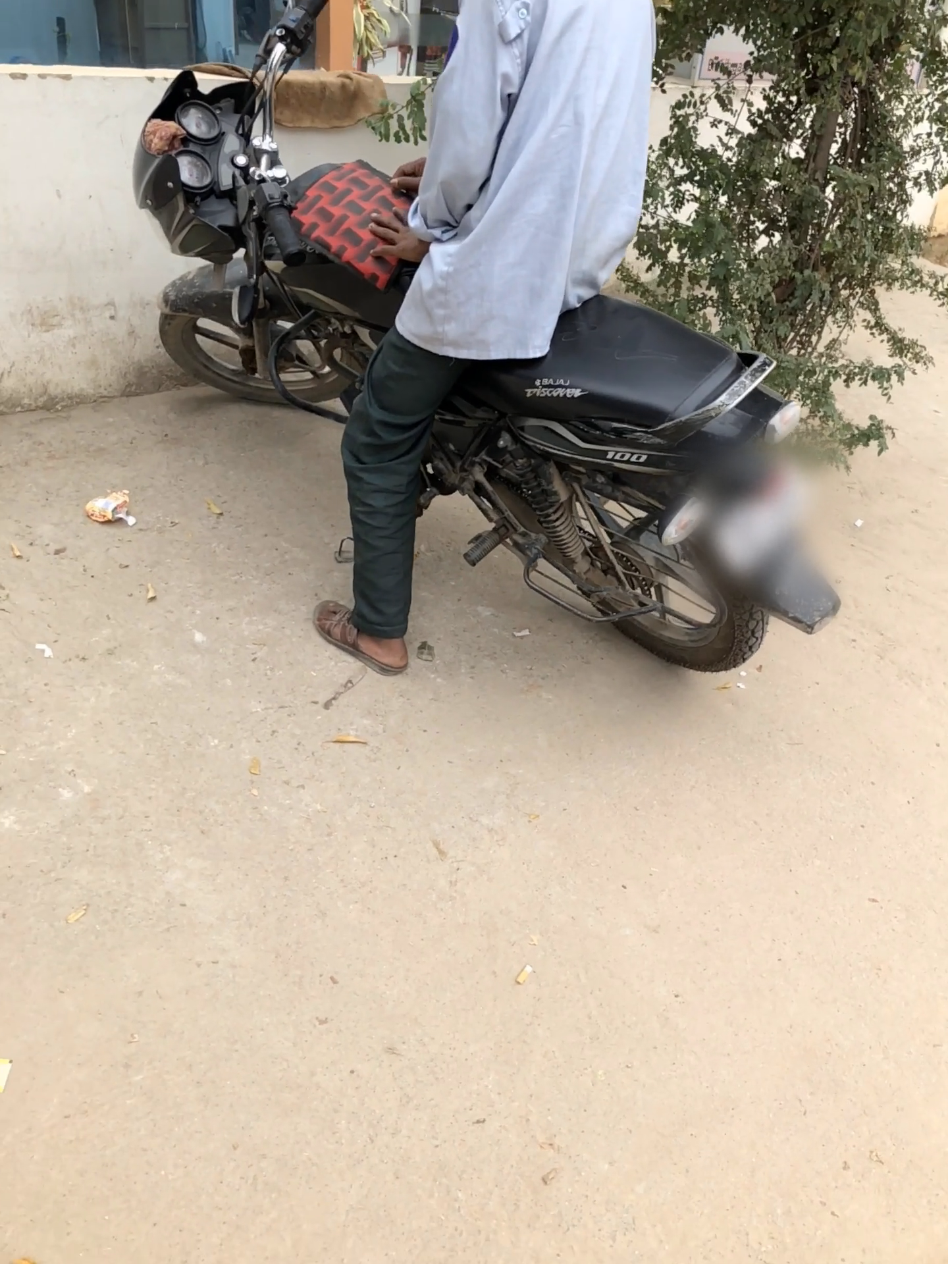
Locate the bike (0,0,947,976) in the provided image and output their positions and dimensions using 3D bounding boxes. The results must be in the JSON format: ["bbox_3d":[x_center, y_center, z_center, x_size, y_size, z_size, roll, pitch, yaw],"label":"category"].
[{"bbox_3d":[-0.100,-0.485,2.039,1.499,1.332,0.790,30,39,31],"label":"bike"}]
